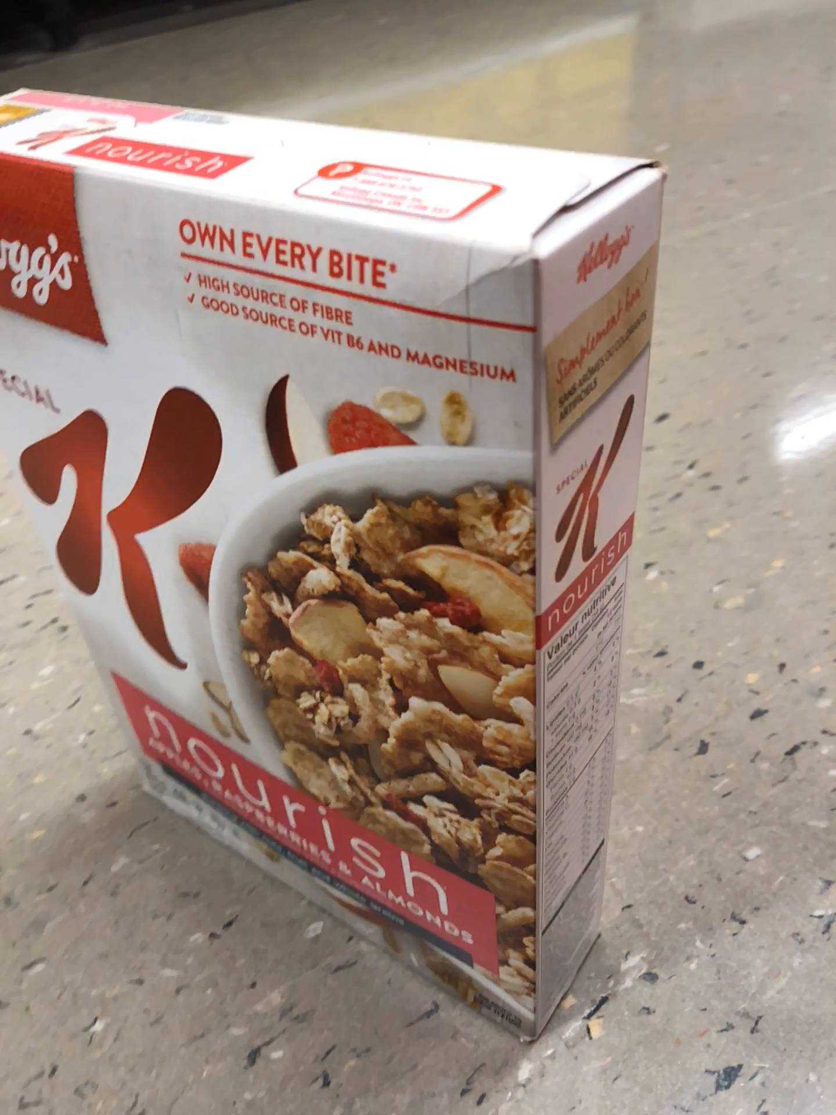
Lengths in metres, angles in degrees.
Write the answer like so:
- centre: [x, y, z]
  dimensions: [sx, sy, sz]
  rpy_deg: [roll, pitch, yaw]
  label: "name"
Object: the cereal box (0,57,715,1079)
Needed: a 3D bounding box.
- centre: [-0.036, 0.018, 0.287]
  dimensions: [0.210, 0.289, 0.050]
  rpy_deg: [21, 48, 30]
  label: "cereal box"
